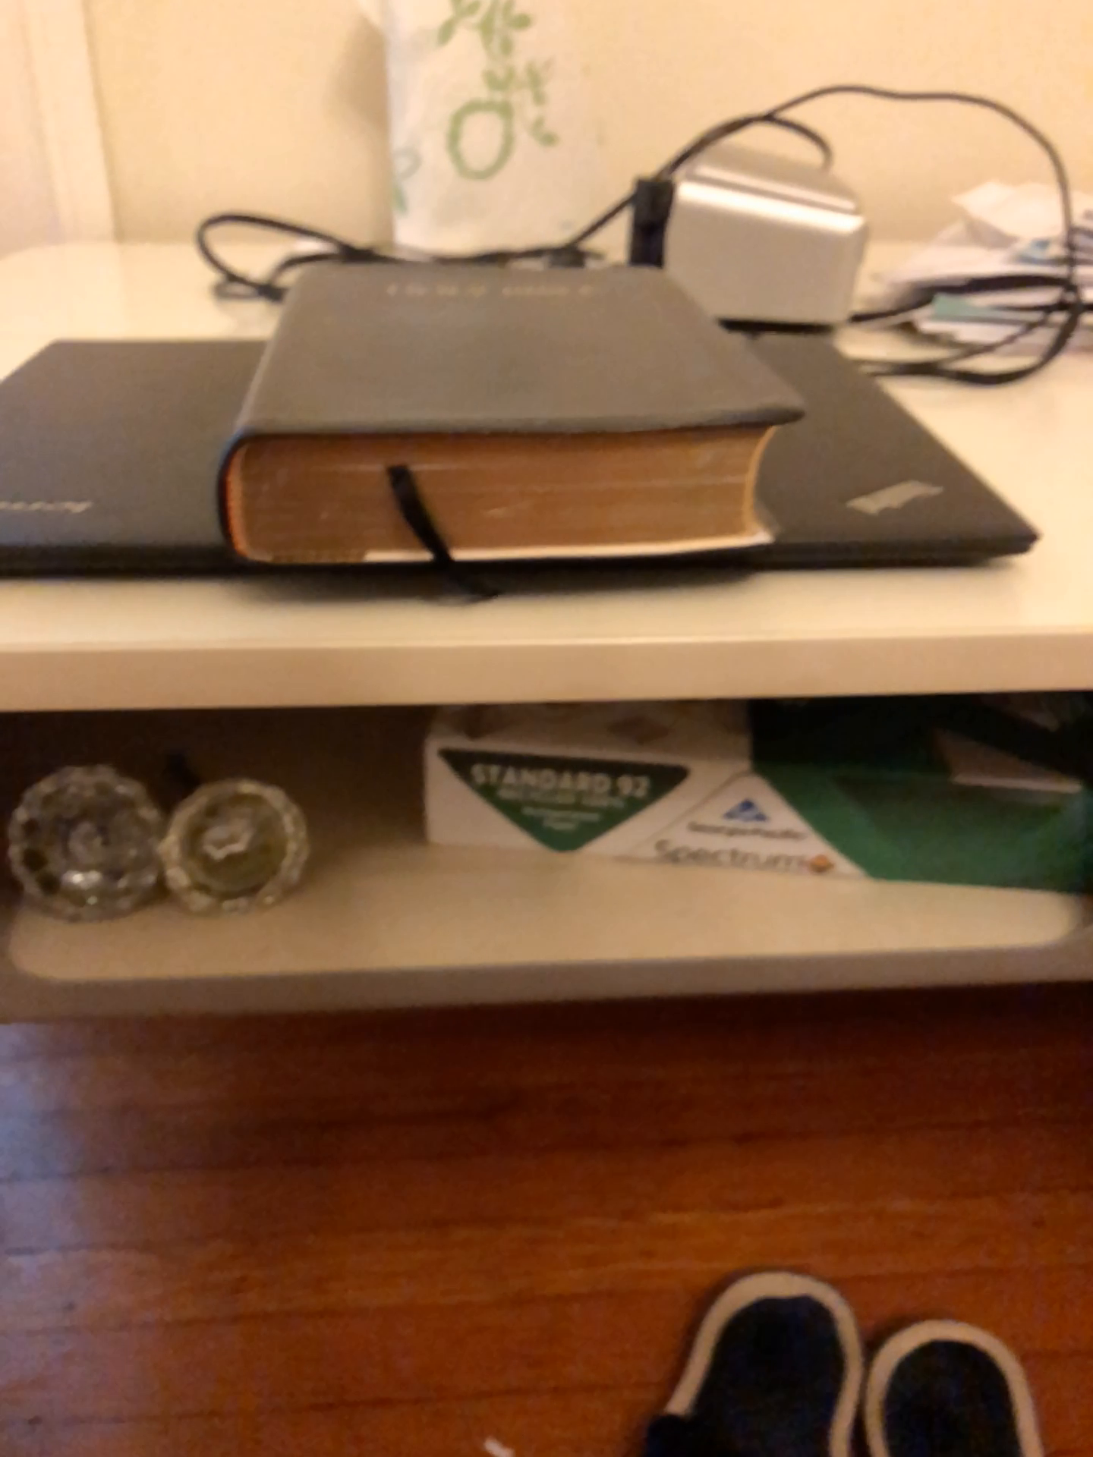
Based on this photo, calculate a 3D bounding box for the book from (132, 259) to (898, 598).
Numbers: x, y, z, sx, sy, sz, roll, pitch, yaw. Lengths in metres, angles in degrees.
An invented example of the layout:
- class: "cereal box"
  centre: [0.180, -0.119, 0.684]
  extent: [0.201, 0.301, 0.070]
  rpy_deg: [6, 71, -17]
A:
- class: "book"
  centre: [-0.016, -0.109, 0.387]
  extent: [0.170, 0.040, 0.241]
  rpy_deg: [-2, 29, -5]
